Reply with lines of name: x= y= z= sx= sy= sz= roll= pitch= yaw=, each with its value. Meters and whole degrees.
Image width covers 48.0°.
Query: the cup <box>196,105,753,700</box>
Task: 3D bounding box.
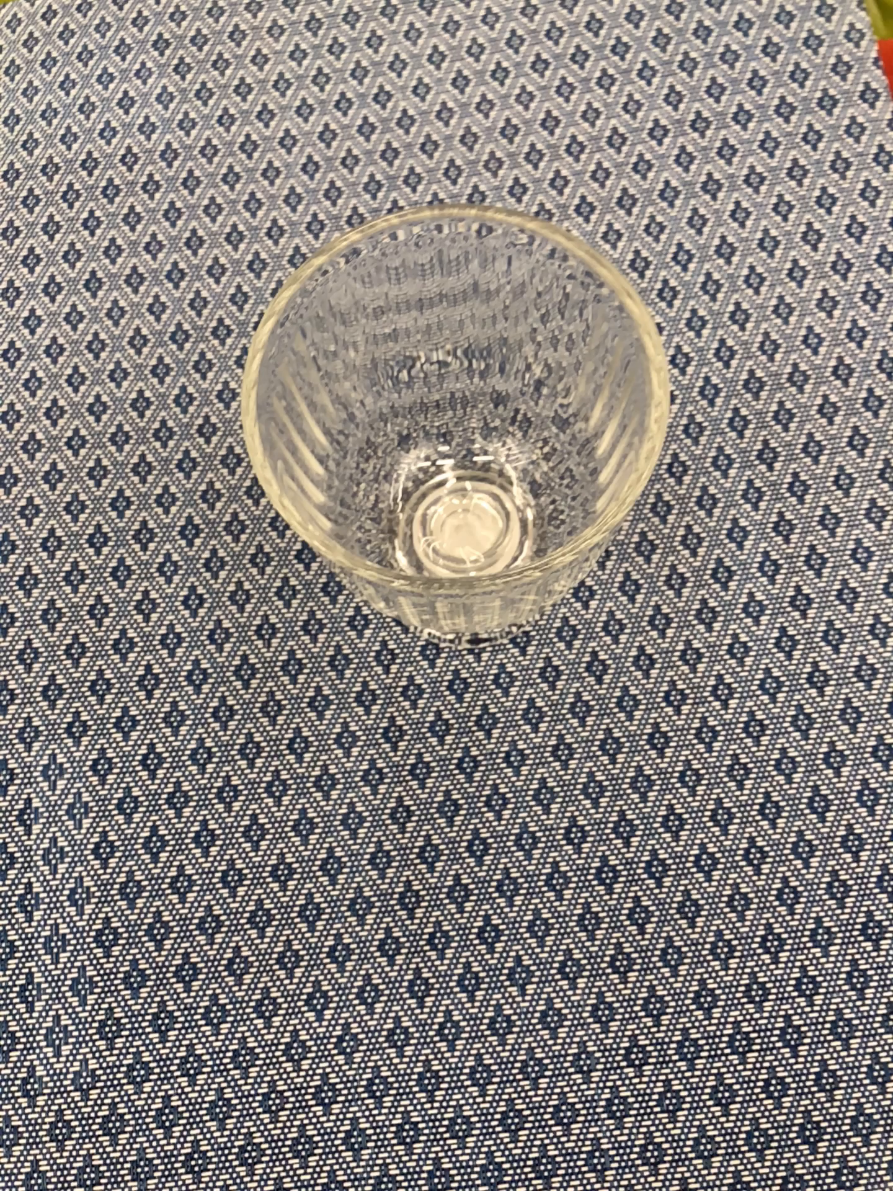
cup: x=0.012 y=-0.040 z=0.260 sx=0.100 sy=0.110 sz=0.100 roll=-1 pitch=73 yaw=4
